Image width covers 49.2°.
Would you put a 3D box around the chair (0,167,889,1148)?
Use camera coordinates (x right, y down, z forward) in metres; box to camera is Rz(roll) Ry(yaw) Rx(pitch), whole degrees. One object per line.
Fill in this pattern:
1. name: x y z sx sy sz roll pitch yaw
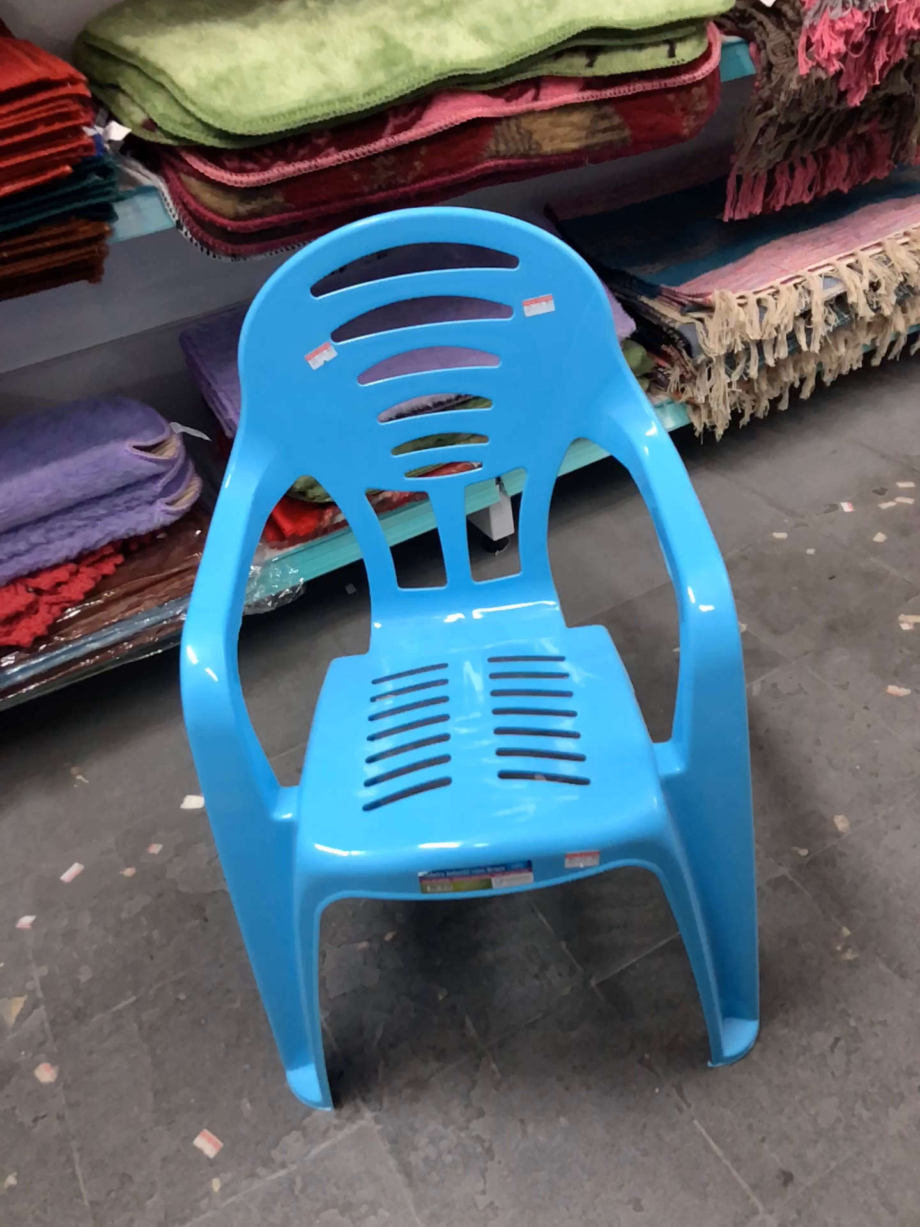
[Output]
1. chair: -0.009 0.033 0.713 0.400 0.516 0.393 -7 37 2
